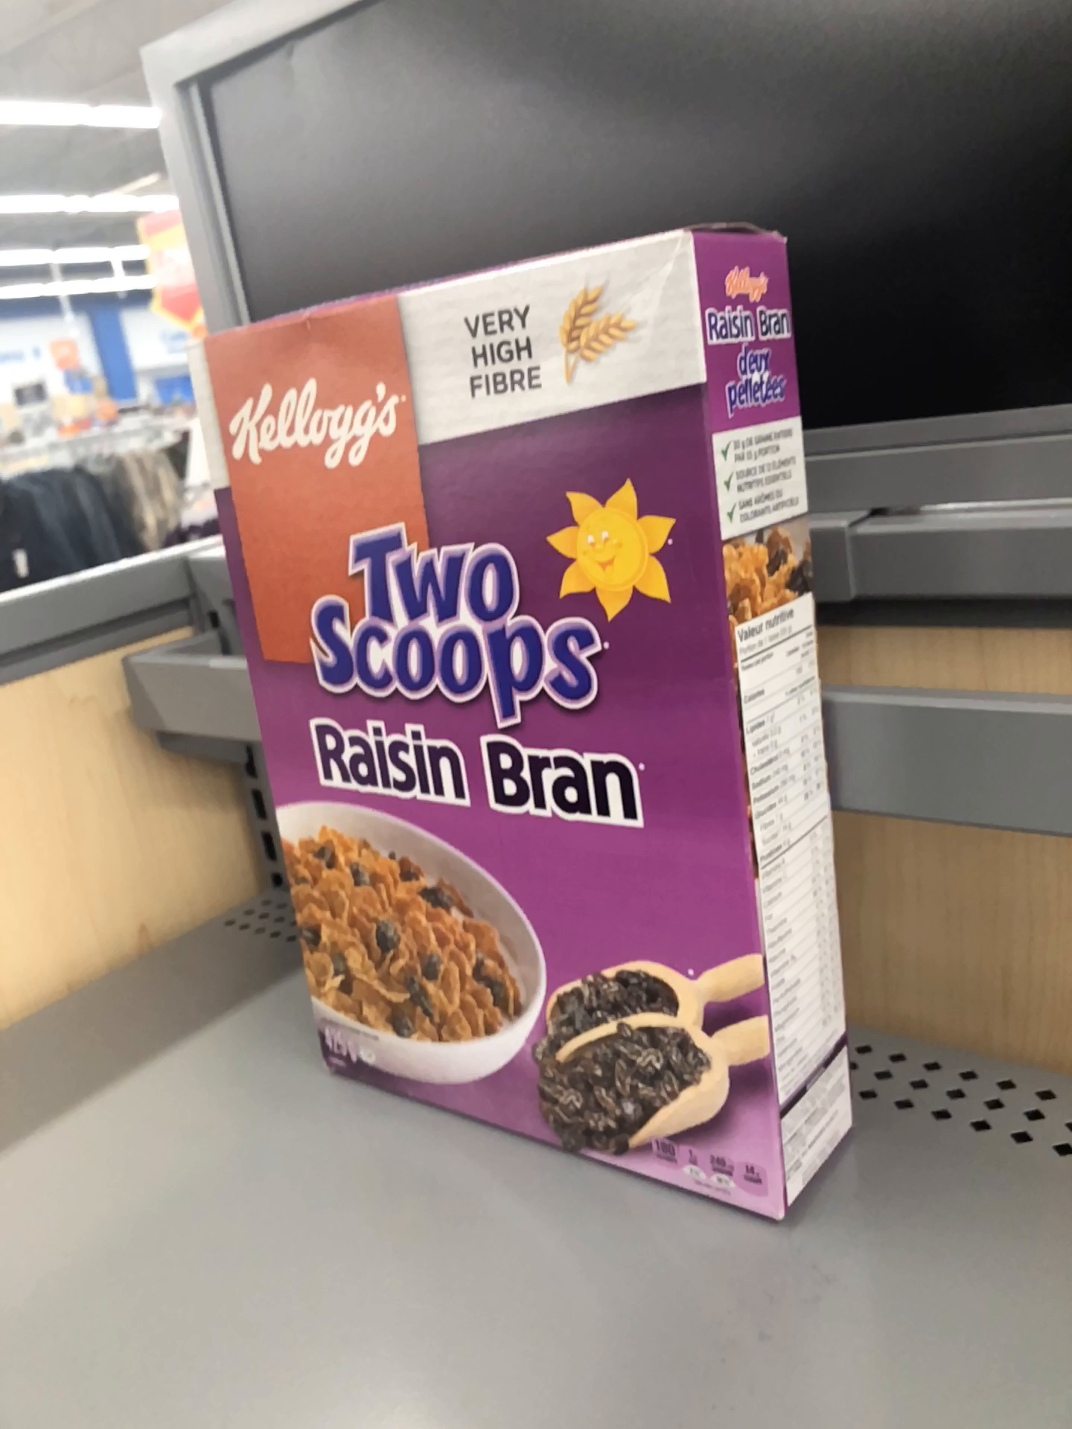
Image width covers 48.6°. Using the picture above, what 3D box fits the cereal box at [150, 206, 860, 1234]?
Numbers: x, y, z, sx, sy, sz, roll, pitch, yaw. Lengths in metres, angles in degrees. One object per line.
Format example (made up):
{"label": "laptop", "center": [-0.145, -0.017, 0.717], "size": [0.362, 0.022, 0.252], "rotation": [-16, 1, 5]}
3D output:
{"label": "cereal box", "center": [-0.015, 0.003, 0.383], "size": [0.211, 0.269, 0.050], "rotation": [3, 17, 38]}
